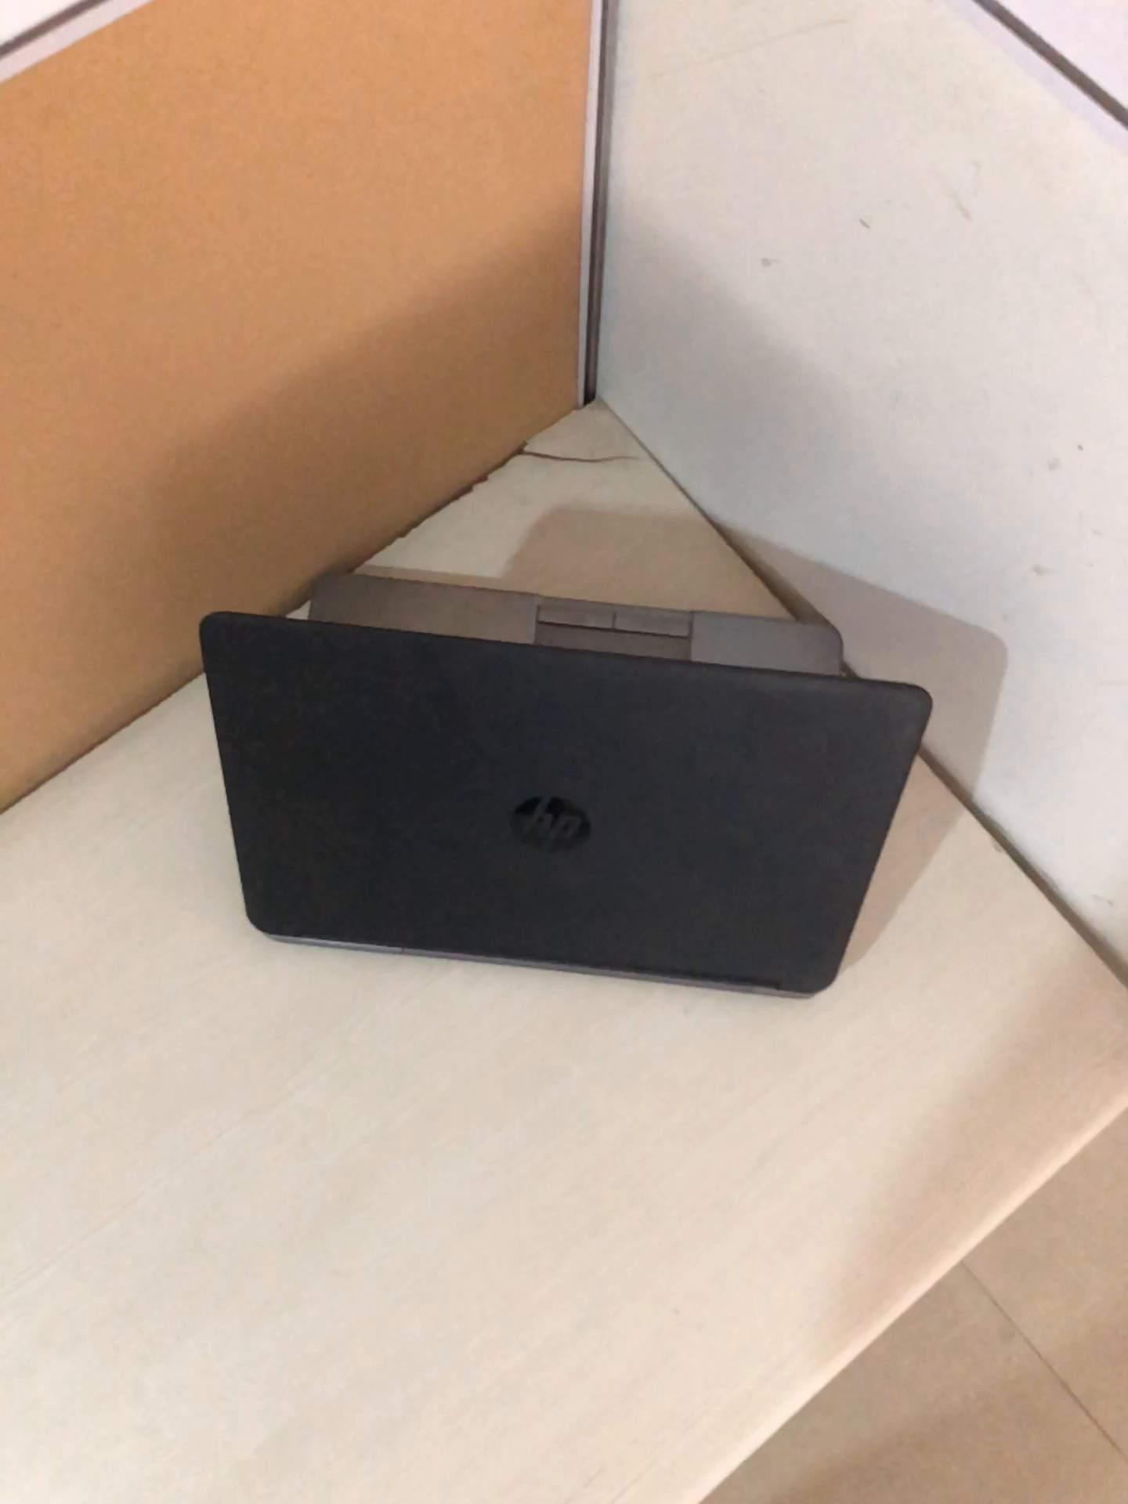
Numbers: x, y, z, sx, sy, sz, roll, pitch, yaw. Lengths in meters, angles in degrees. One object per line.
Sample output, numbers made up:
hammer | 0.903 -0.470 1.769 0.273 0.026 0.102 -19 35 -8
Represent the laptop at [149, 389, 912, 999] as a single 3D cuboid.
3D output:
laptop | -0.006 -0.016 0.641 0.318 0.193 0.228 6 73 1
